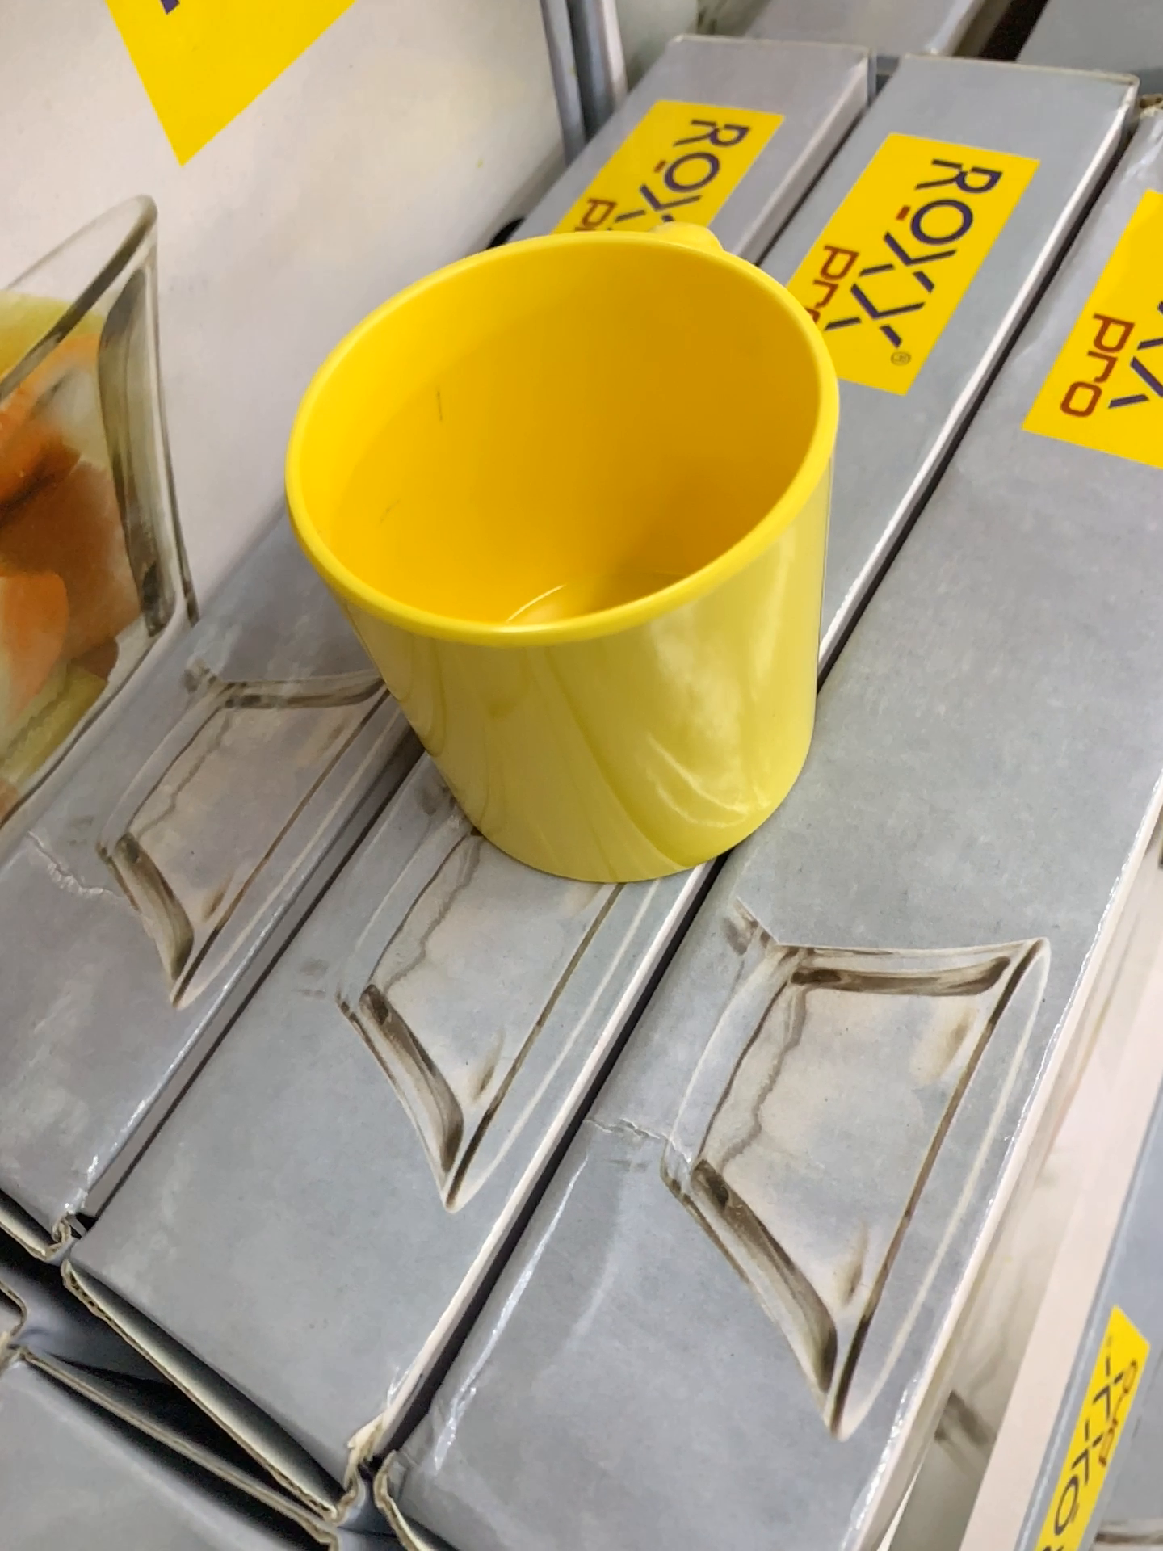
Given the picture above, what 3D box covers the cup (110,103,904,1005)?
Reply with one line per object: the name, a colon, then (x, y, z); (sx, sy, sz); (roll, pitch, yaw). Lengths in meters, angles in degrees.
cup: (0.001, -0.035, 0.187); (0.070, 0.080, 0.100); (13, 59, 18)
